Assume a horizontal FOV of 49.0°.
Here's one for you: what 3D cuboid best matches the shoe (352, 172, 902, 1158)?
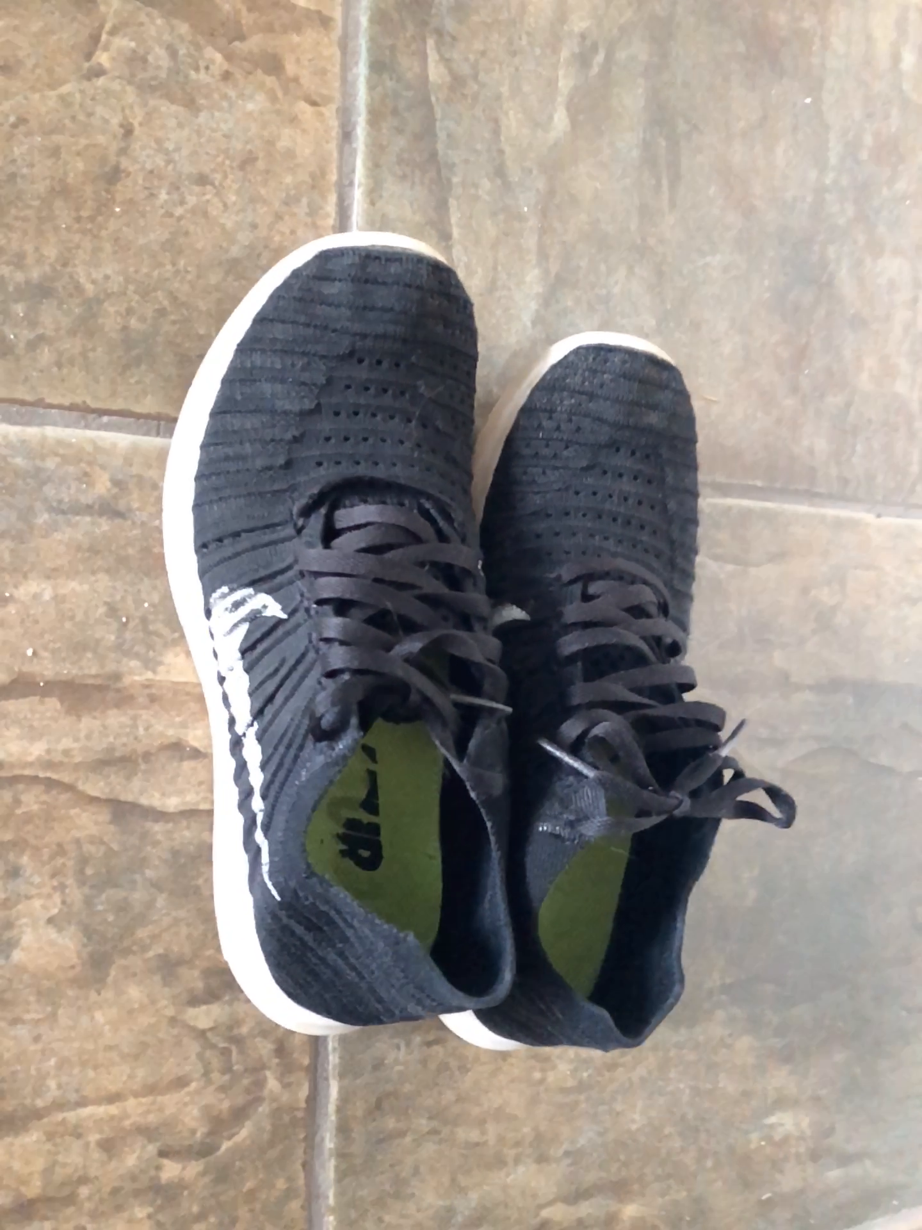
[{"bbox_3d":[0.051,0.017,0.334,0.110,0.100,0.260,10,86,-26],"label":"shoe"}]

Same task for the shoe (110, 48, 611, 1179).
[{"bbox_3d":[-0.035,0.001,0.302,0.110,0.100,0.260,3,89,-26],"label":"shoe"}]
